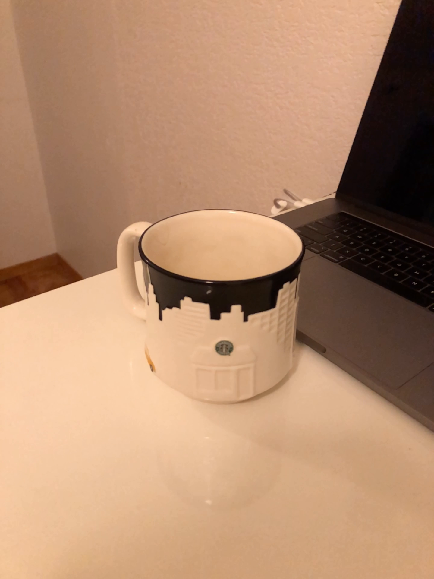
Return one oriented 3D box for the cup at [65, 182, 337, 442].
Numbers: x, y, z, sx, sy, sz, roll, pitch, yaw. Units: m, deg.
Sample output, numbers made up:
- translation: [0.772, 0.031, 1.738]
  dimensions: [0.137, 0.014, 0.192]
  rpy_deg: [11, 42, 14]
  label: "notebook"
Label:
- translation: [-0.012, 0.004, 0.344]
  dimensions: [0.150, 0.109, 0.100]
  rpy_deg: [21, 38, 31]
  label: "cup"
